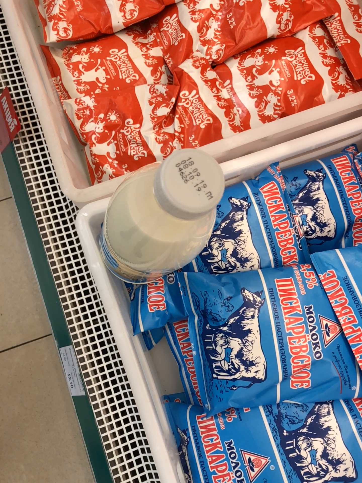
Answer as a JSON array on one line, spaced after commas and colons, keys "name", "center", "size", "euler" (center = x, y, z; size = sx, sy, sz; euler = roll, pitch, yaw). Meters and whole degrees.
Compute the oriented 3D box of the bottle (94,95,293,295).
[{"name": "bottle", "center": [-0.015, -0.018, 0.345], "size": [0.090, 0.230, 0.090], "euler": [3, 77, -15]}]
